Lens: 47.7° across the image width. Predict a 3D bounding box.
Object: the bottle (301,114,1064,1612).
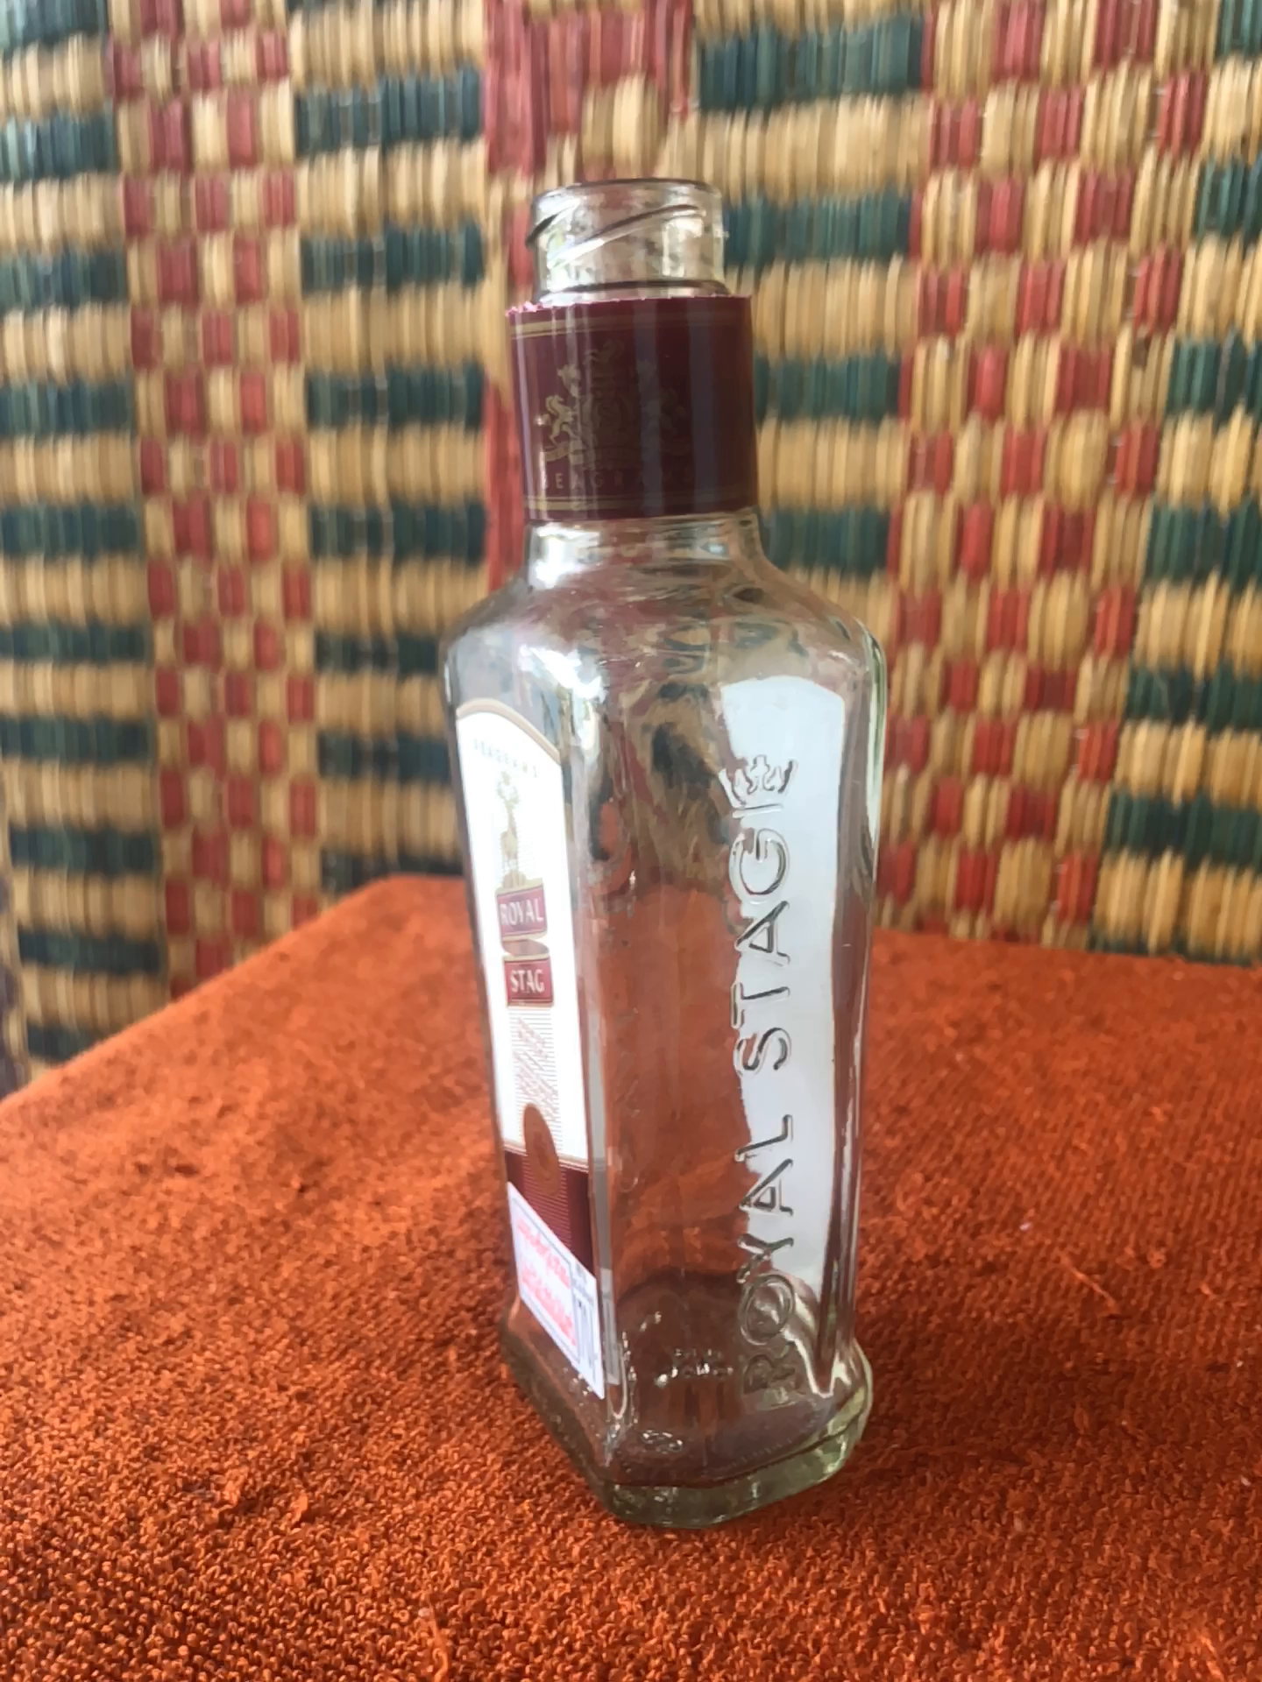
[{"bbox_3d":[0.008,0.002,0.180,0.060,0.159,0.060,-4,20,1],"label":"bottle"}]
